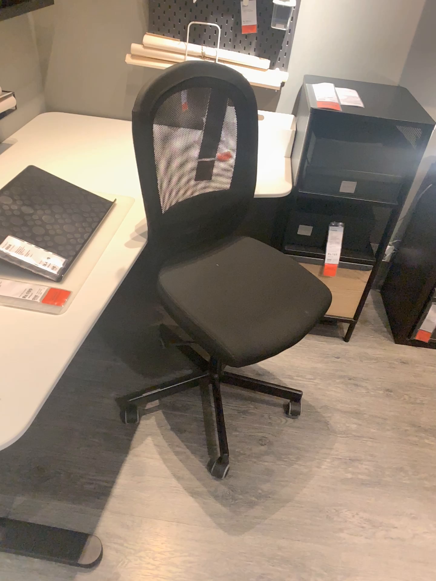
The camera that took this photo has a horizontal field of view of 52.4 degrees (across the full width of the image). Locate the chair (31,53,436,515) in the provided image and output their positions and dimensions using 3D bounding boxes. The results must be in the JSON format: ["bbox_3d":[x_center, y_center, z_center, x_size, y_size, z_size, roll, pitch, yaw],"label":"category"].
[{"bbox_3d":[0.013,-0.058,1.335,0.691,0.996,0.711,-26,50,-34],"label":"chair"}]
